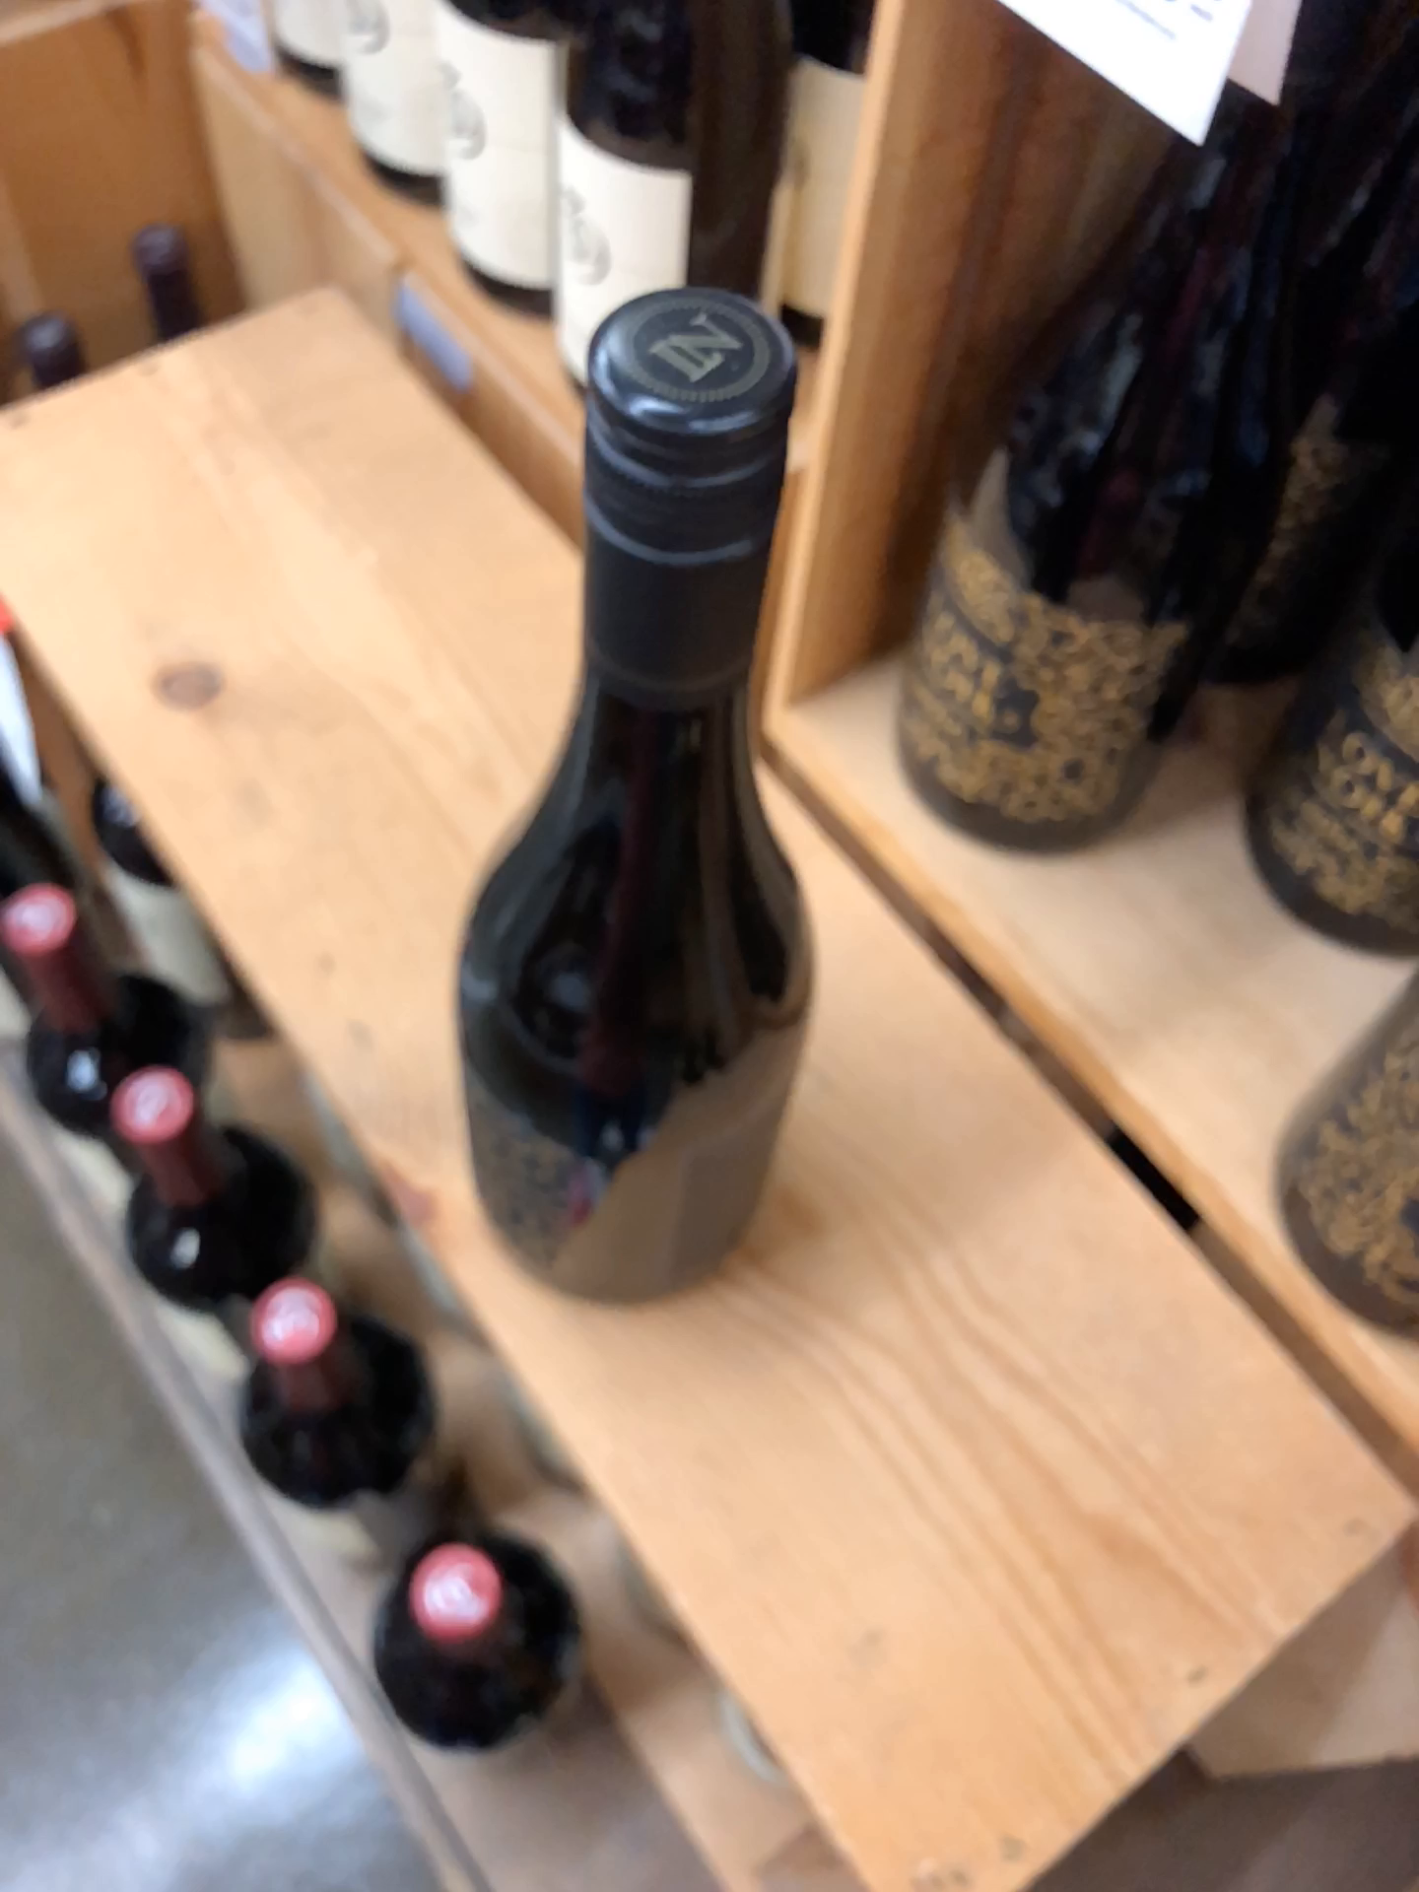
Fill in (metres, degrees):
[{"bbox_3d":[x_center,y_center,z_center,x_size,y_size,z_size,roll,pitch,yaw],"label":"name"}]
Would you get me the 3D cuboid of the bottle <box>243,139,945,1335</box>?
[{"bbox_3d":[-0.020,-0.007,0.342,0.085,0.285,0.090,2,60,-3],"label":"bottle"}]
